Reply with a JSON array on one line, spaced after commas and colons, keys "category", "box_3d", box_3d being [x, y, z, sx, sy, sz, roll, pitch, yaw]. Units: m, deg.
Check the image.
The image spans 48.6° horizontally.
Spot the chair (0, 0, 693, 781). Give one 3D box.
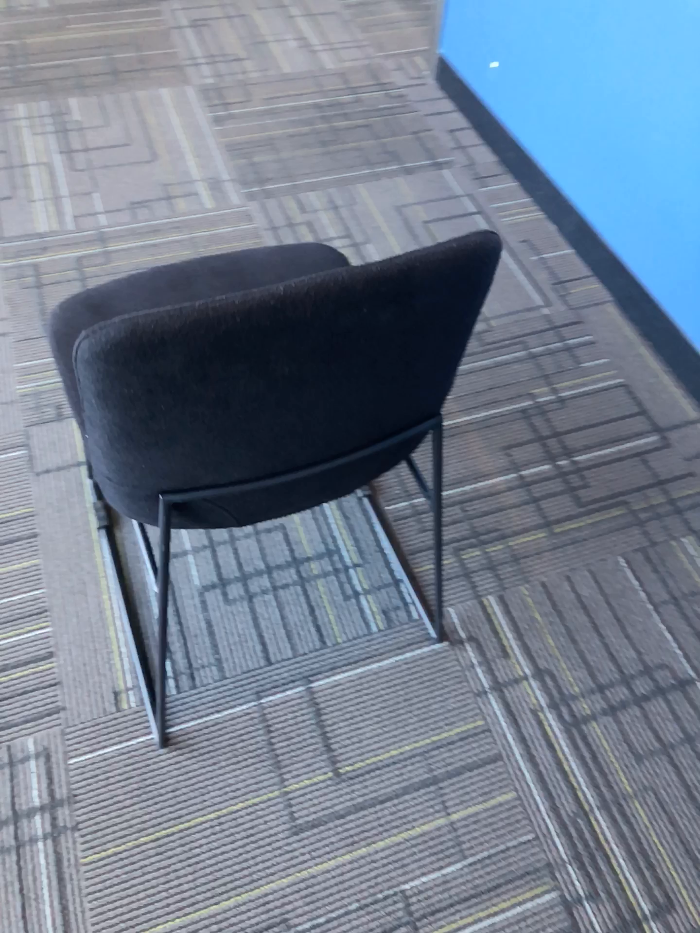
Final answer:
[{"category": "chair", "box_3d": [-0.135, -0.100, 0.937, 0.560, 0.767, 0.552, -16, 56, -15]}]
